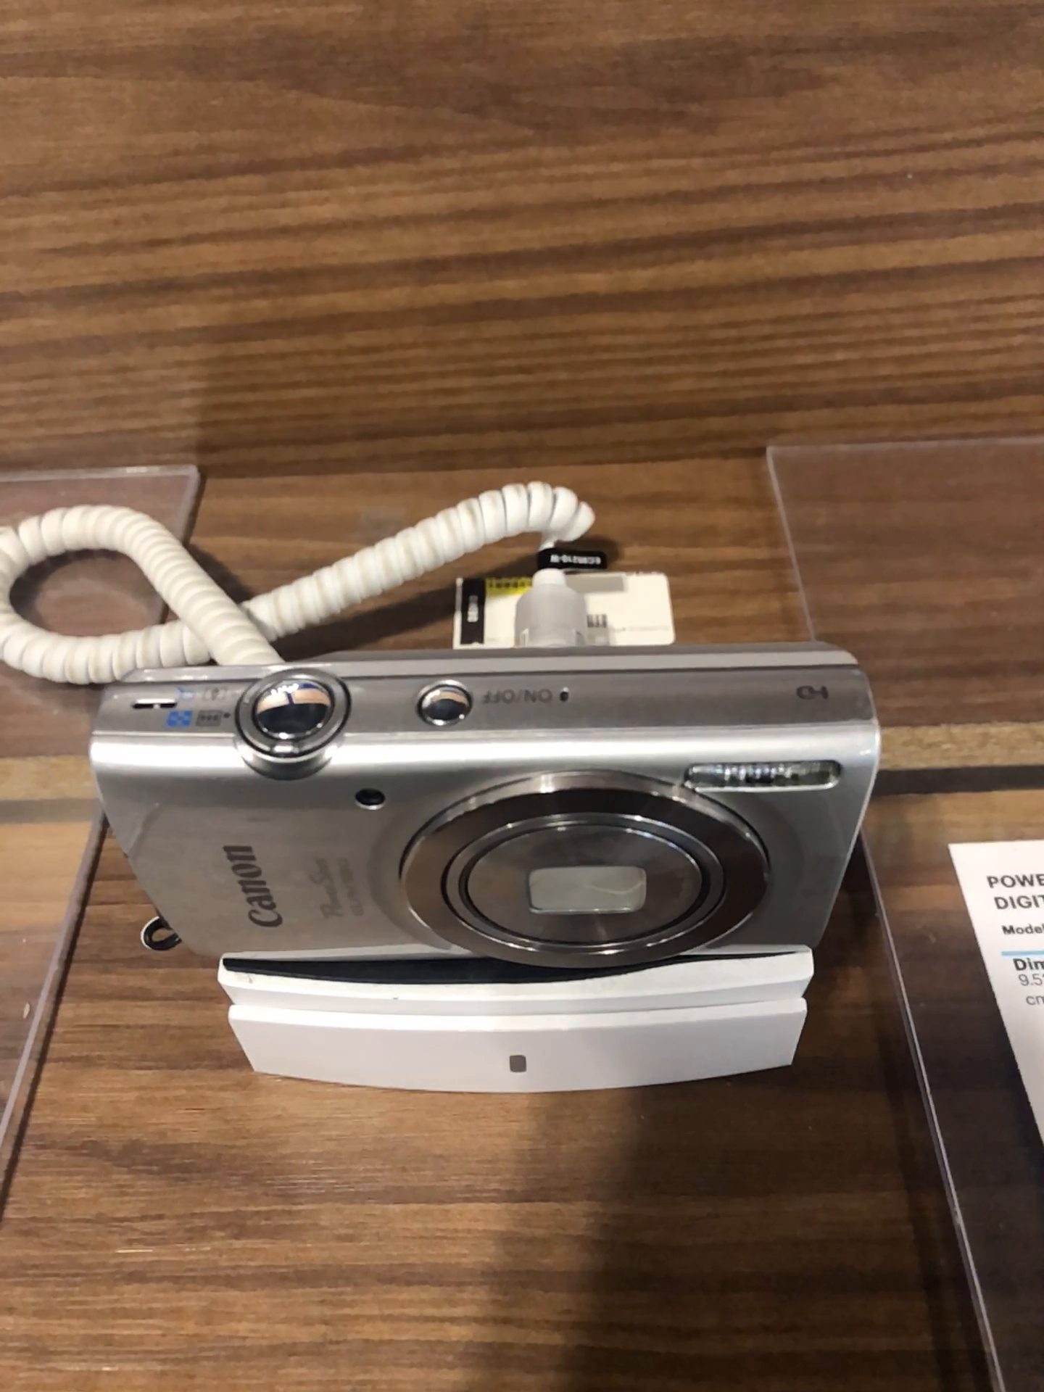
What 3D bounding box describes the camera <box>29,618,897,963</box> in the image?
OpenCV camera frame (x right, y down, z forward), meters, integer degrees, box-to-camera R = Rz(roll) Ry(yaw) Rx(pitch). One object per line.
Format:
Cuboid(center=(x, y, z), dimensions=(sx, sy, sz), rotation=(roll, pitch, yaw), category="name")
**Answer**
Cuboid(center=(-0.006, 0.015, 0.159), dimensions=(0.100, 0.050, 0.020), rotation=(-1, 50, 2), category="camera")
